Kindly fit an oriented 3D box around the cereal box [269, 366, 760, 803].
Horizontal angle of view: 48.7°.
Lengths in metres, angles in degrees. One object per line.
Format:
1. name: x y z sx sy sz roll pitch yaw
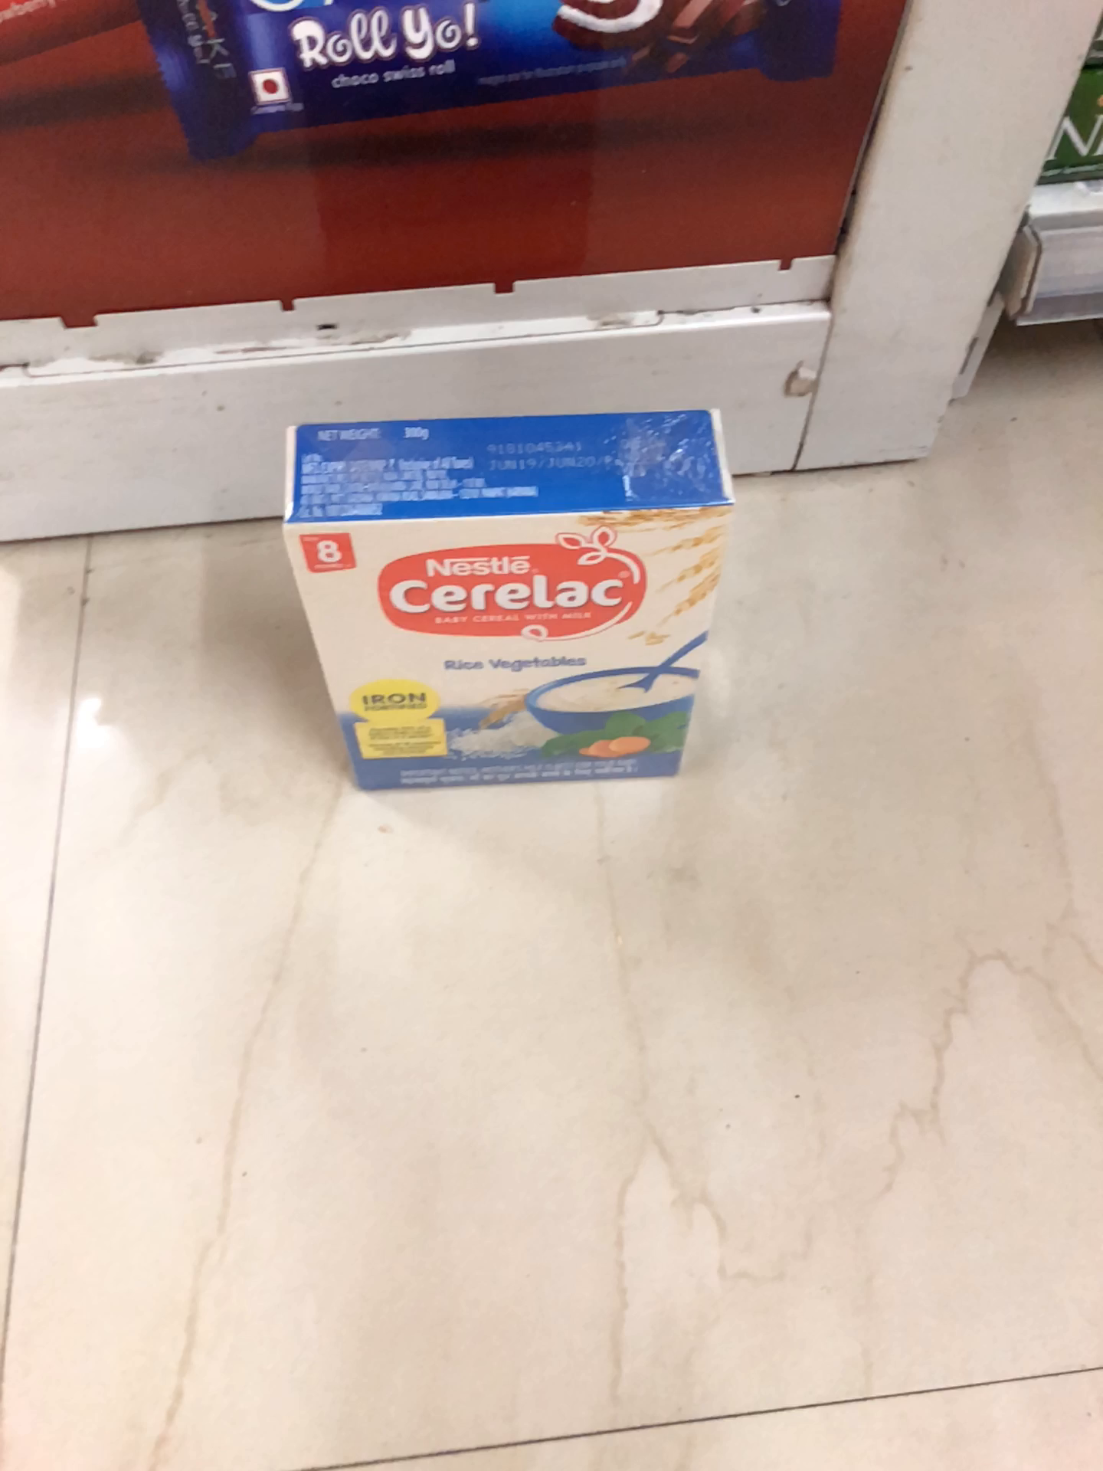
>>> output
1. cereal box: -0.015 -0.050 0.497 0.160 0.199 0.060 -4 60 -3
